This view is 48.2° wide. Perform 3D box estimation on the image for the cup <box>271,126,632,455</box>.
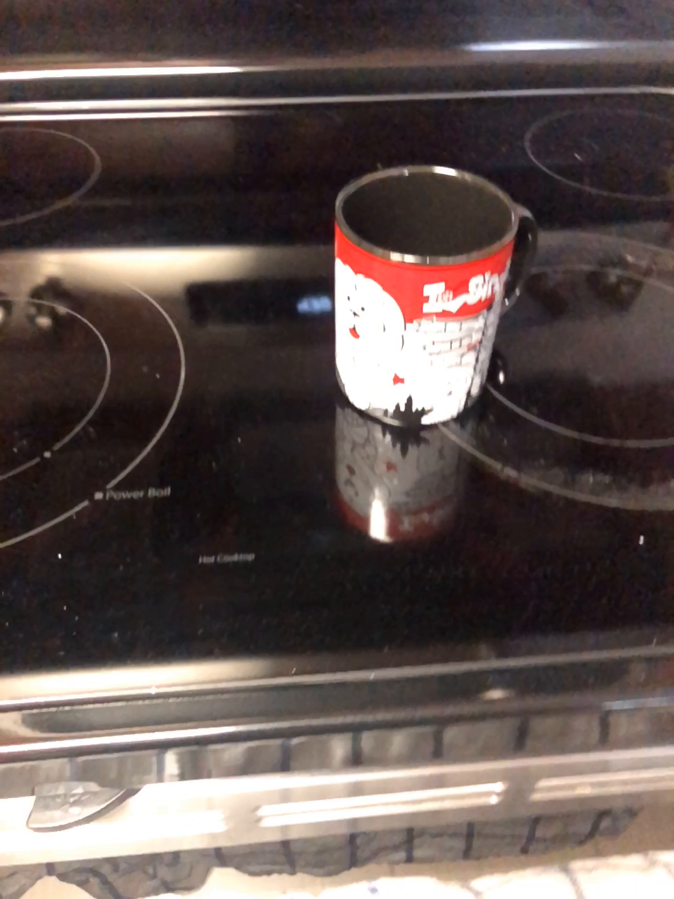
[{"bbox_3d":[0.050,-0.081,0.364,0.130,0.090,0.090,-24,51,-22],"label":"cup"}]
